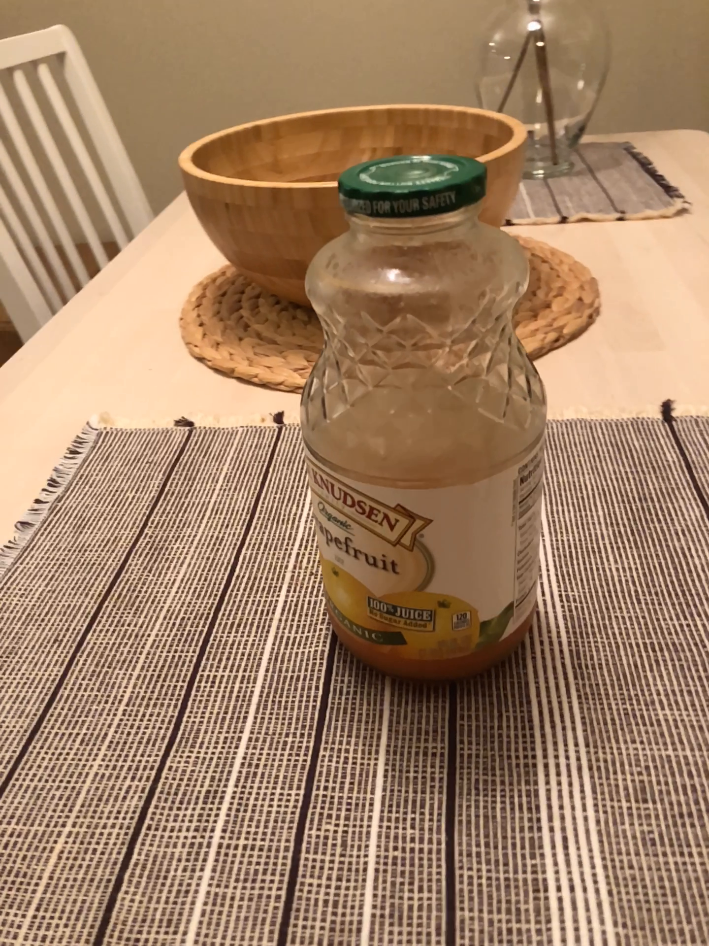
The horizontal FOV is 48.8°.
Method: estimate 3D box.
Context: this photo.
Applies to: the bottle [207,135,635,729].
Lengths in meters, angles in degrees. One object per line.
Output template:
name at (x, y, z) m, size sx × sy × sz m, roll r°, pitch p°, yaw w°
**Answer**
bottle at (0.027, -0.019, 0.311) m, size 0.100 × 0.189 × 0.100 m, roll -4°, pitch 33°, yaw 2°
